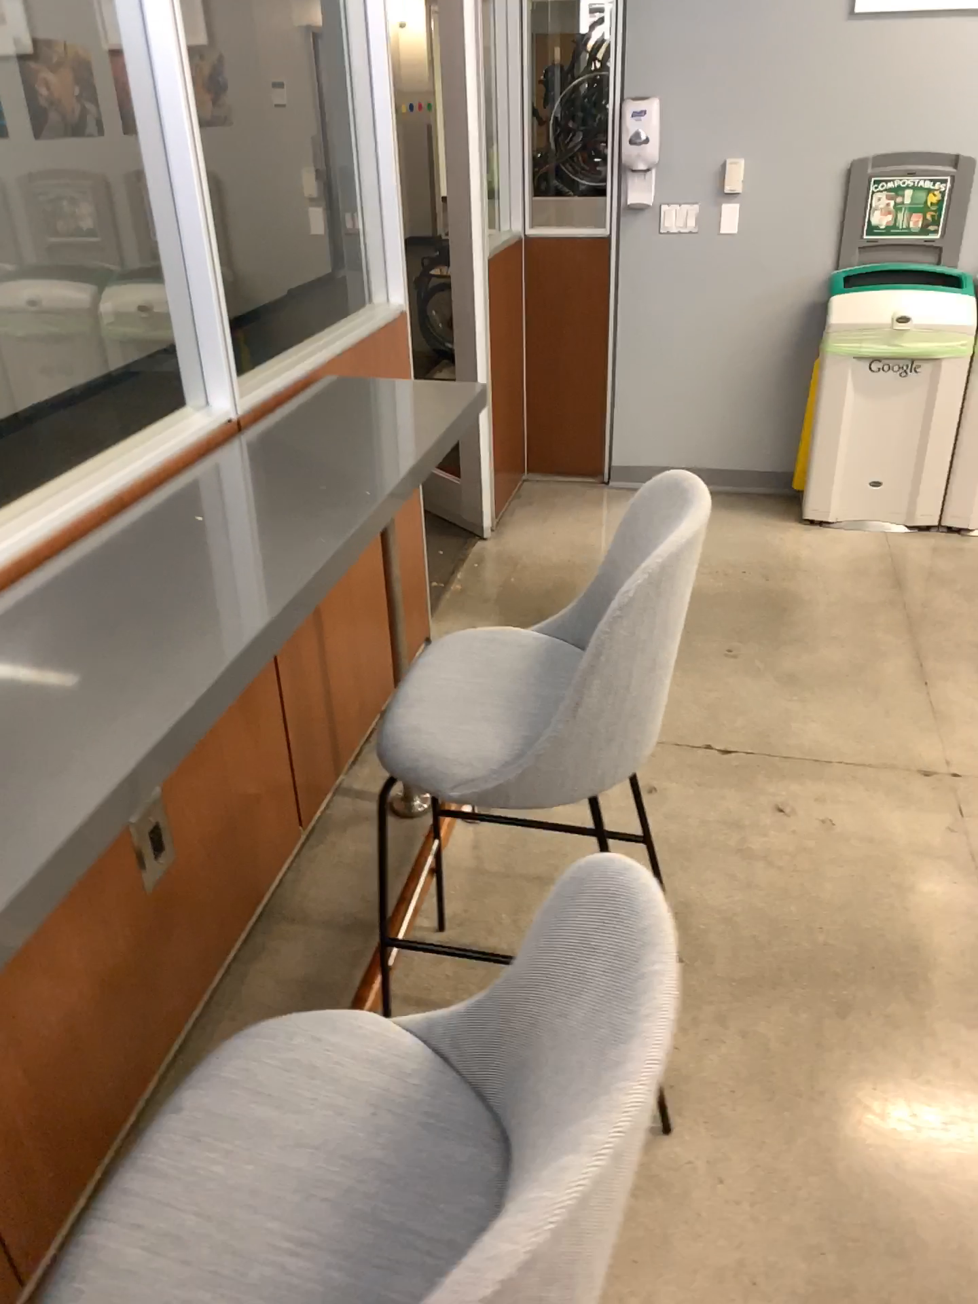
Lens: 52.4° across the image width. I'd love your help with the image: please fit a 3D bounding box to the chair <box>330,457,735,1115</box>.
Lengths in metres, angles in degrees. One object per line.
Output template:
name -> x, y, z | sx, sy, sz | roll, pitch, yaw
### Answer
chair -> 0.084, 0.239, 1.676 | 0.510, 1.034, 0.412 | 1, 29, 6
